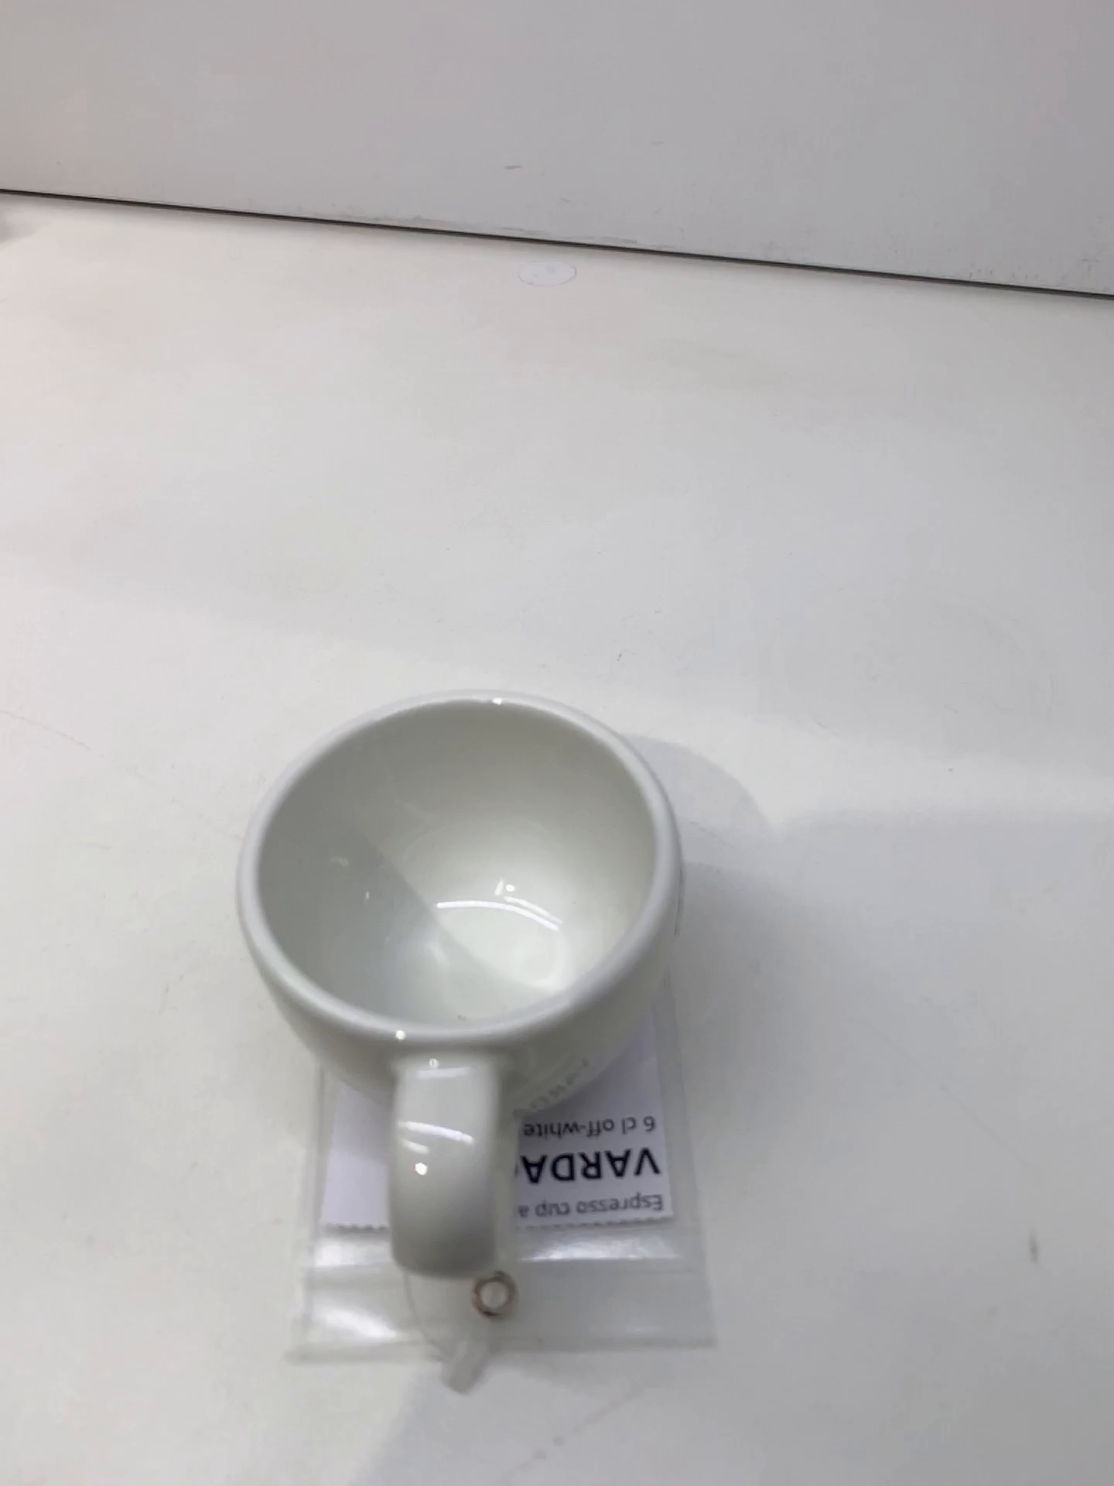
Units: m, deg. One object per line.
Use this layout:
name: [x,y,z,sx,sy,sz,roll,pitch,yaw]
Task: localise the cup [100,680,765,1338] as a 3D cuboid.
cup: [-0.013,0.034,0.163,0.070,0.040,0.080,-2,45,1]
